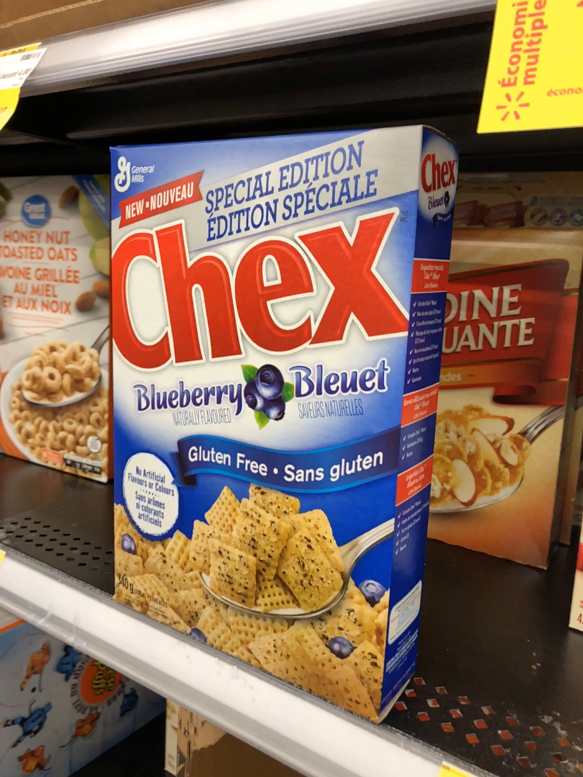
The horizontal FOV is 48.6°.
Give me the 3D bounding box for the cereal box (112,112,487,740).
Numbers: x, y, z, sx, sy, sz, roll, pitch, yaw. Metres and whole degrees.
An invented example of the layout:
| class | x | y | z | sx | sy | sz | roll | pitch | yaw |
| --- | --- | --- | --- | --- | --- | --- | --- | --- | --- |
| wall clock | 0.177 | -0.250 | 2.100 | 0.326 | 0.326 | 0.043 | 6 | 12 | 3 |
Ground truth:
| class | x | y | z | sx | sy | sz | roll | pitch | yaw |
| --- | --- | --- | --- | --- | --- | --- | --- | --- | --- |
| cereal box | -0.011 | 0.010 | 0.369 | 0.200 | 0.289 | 0.060 | 10 | 12 | 34 |
